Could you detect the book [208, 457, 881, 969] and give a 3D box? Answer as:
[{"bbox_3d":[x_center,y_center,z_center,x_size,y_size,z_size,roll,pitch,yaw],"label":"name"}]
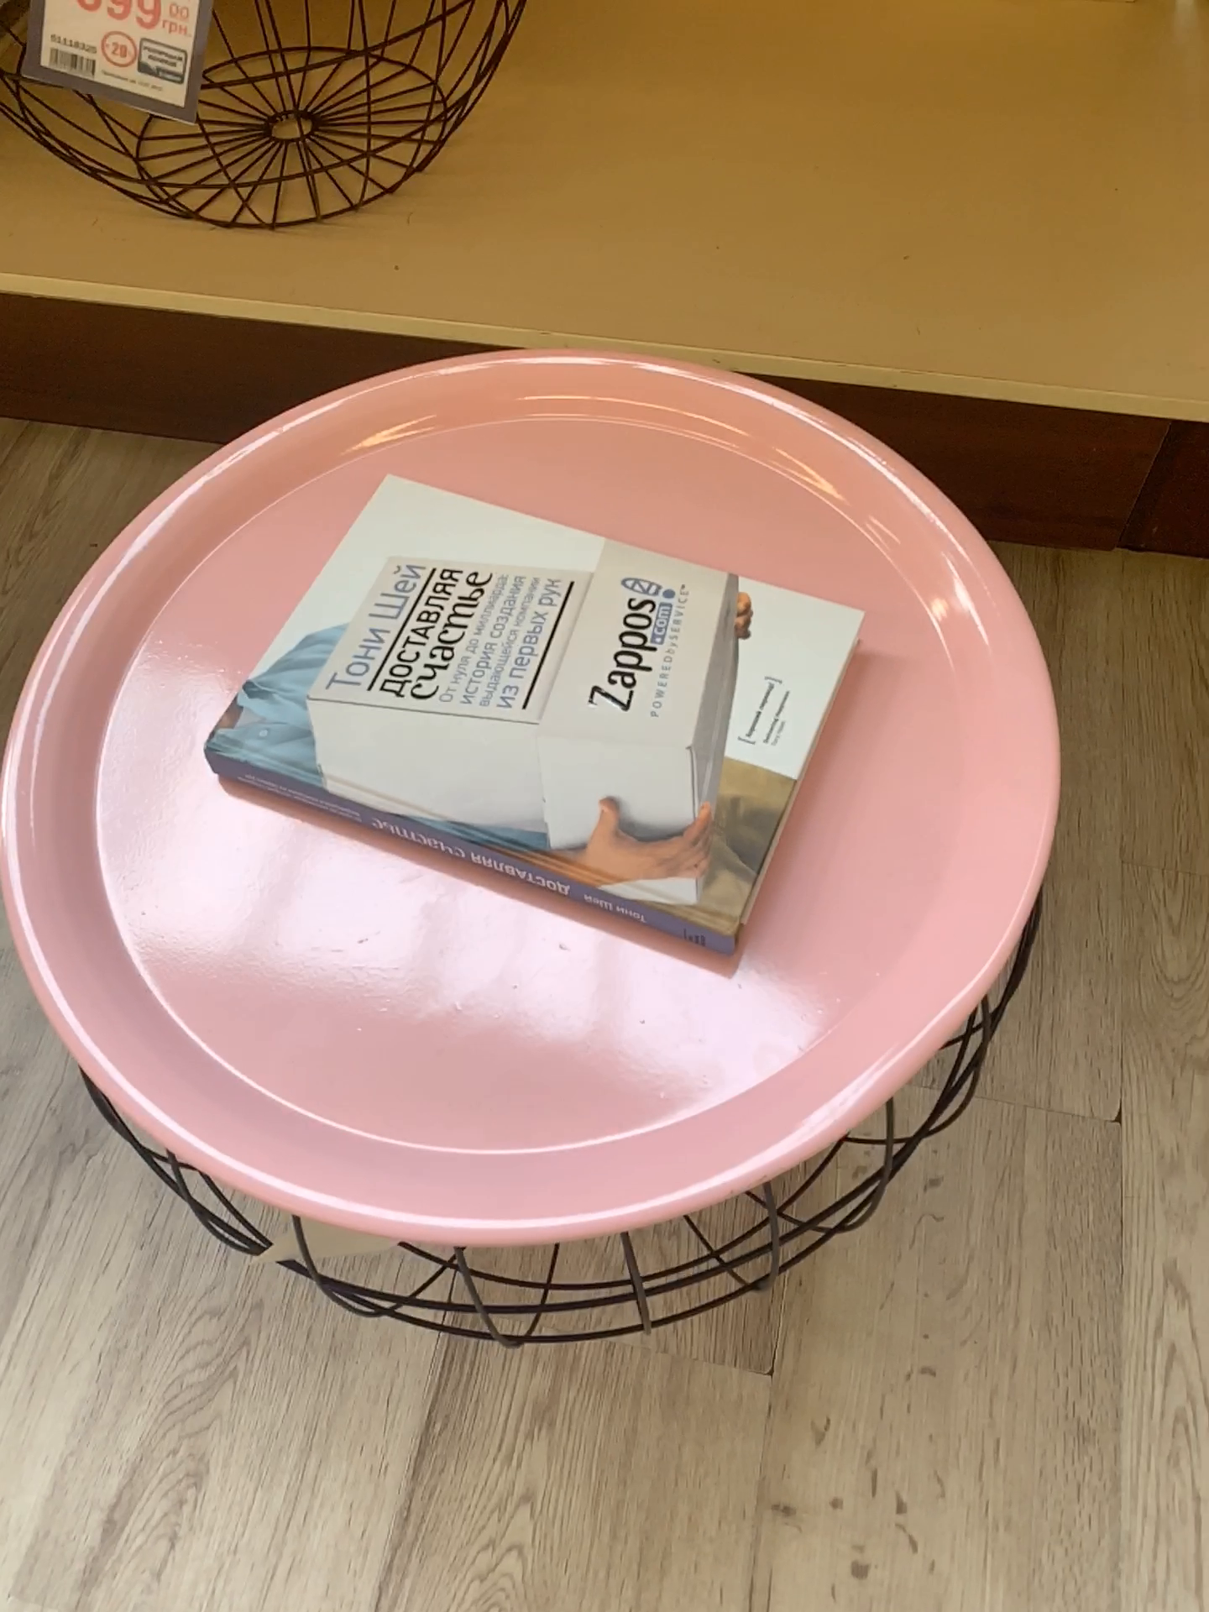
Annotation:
[{"bbox_3d":[-0.021,-0.050,0.528,0.232,0.030,0.170,20,62,13],"label":"book"}]
